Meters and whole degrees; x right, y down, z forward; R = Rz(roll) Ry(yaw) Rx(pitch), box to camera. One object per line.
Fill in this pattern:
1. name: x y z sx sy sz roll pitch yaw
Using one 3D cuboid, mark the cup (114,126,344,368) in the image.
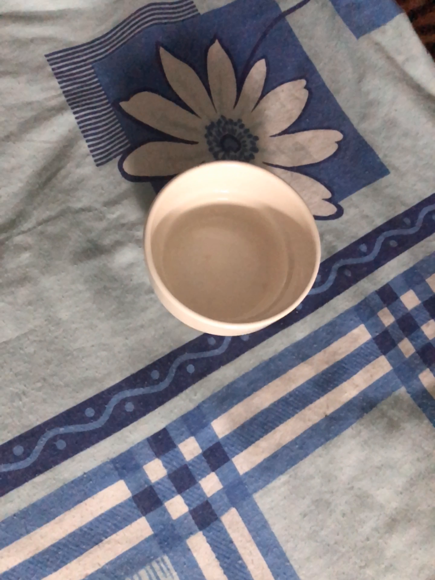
1. cup: 0.002 -0.019 0.239 0.077 0.047 0.091 -19 81 -10
